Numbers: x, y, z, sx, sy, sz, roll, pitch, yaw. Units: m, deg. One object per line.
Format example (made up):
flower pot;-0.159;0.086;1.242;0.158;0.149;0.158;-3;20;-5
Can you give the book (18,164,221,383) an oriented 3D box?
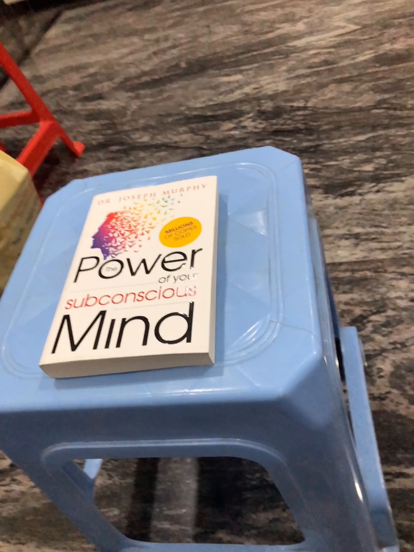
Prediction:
book;-0.061;-0.012;0.393;0.140;0.030;0.201;-8;47;12
